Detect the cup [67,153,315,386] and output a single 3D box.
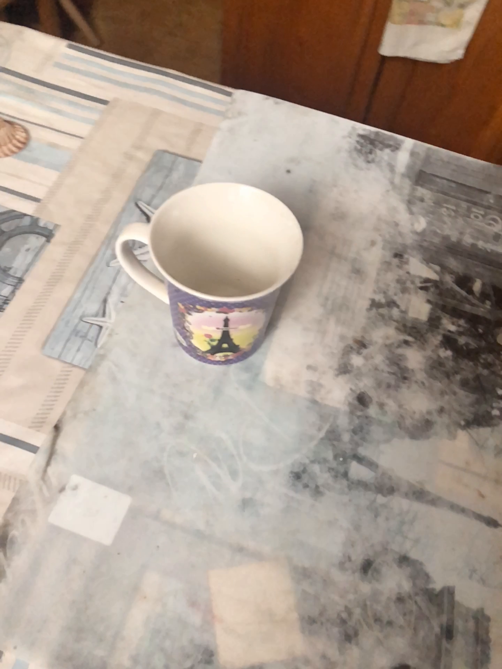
[{"bbox_3d":[-0.032,-0.038,0.345,0.120,0.085,0.091,11,60,1],"label":"cup"}]
